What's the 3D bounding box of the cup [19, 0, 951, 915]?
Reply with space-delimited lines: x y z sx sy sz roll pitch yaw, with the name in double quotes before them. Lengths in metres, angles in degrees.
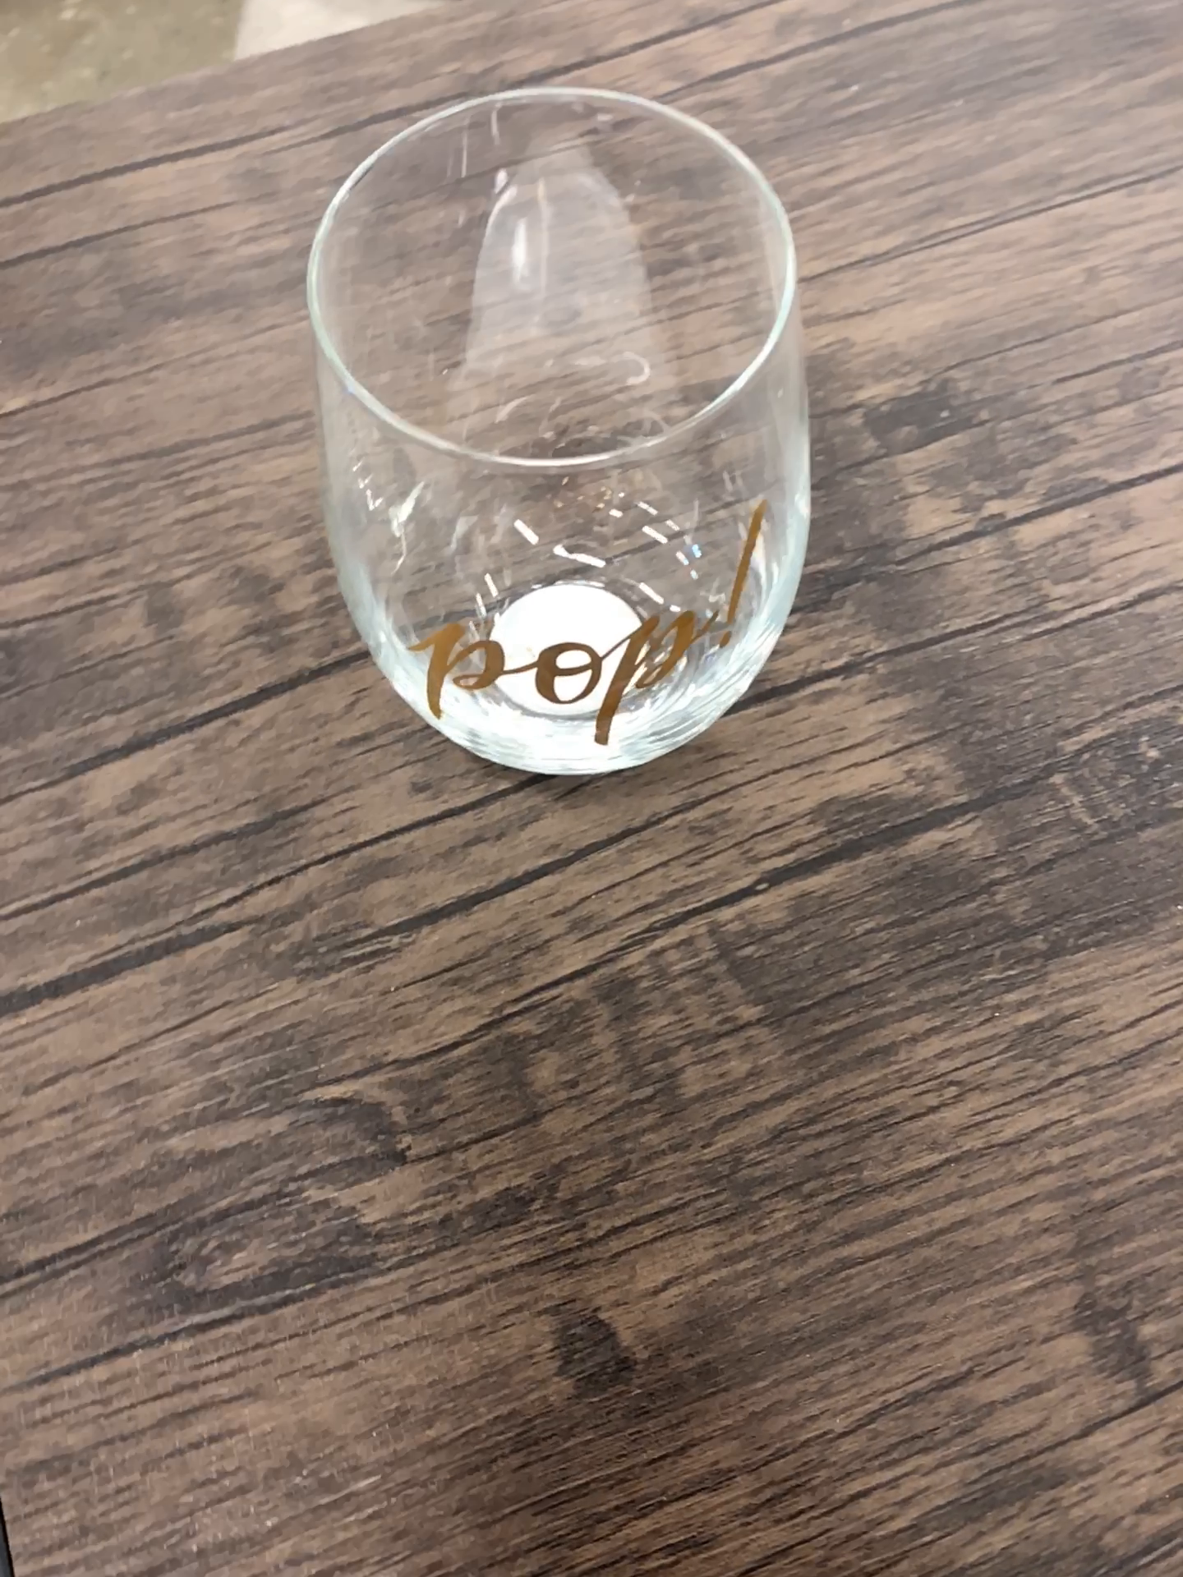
"cup" -0.010 -0.060 0.247 0.100 0.130 0.100 -1 65 1
